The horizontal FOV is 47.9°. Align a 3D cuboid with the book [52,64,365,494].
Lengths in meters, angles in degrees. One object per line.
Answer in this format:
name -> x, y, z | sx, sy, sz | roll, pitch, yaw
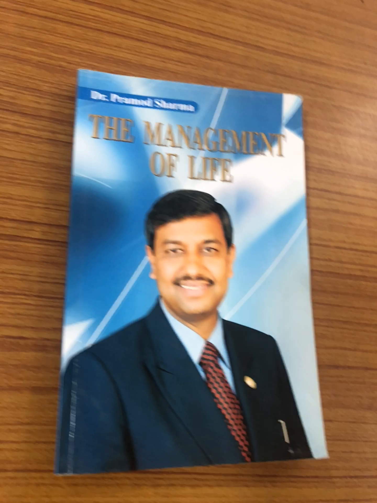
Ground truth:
book -> 0.012, 0.007, 0.229 | 0.150, 0.020, 0.210 | 2, 77, -11
